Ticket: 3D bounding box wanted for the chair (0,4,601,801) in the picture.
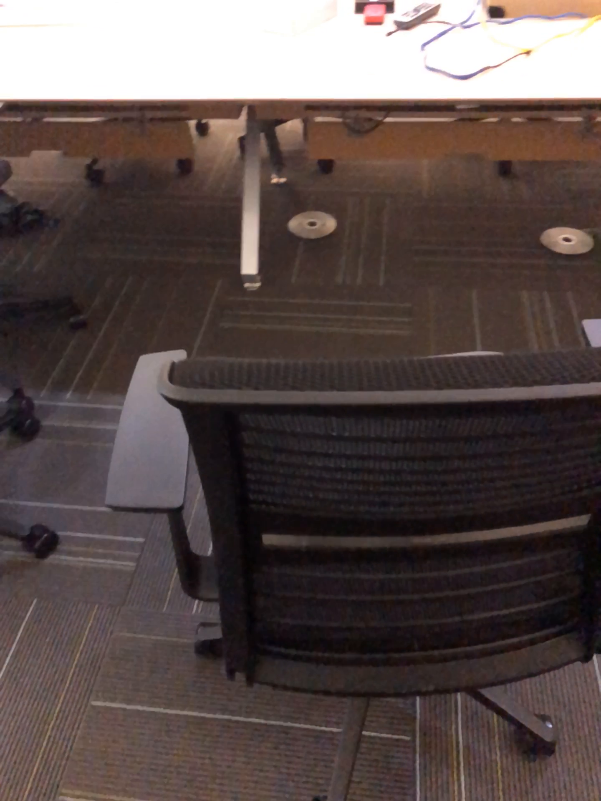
[{"bbox_3d":[0.119,0.081,0.858,0.720,0.856,0.663,-6,43,-3],"label":"chair"}]
